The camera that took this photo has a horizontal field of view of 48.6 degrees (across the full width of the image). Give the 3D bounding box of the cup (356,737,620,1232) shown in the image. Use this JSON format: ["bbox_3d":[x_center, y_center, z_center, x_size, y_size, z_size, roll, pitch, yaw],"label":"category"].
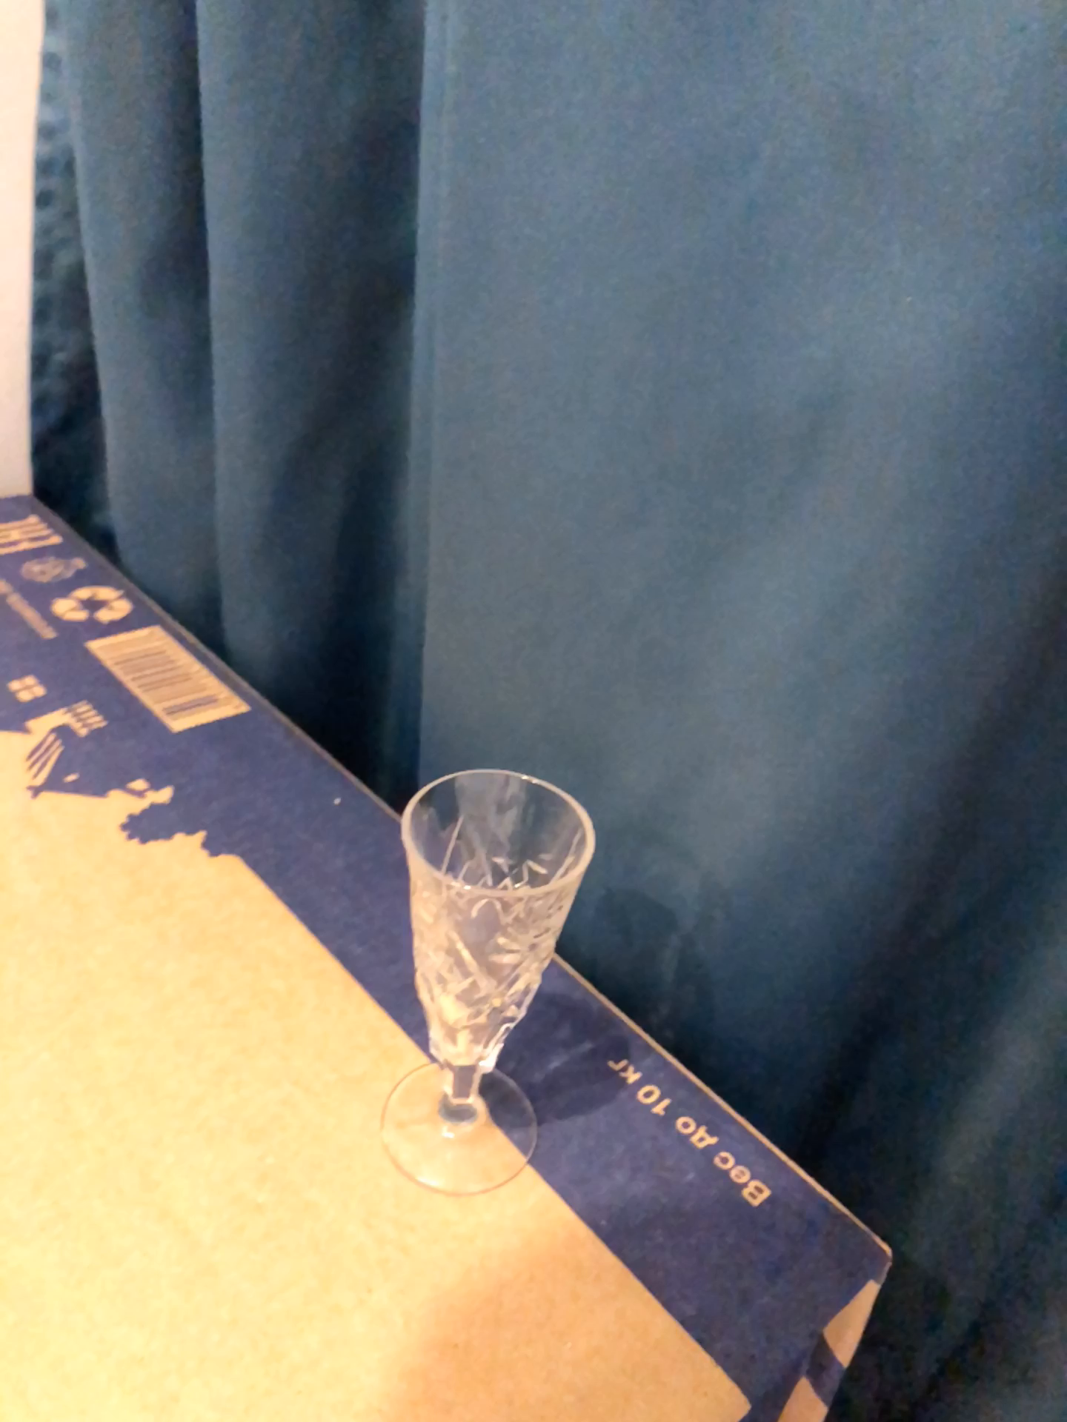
[{"bbox_3d":[-0.017,0.074,0.314,0.051,0.118,0.054,3,34,-2],"label":"cup"}]
